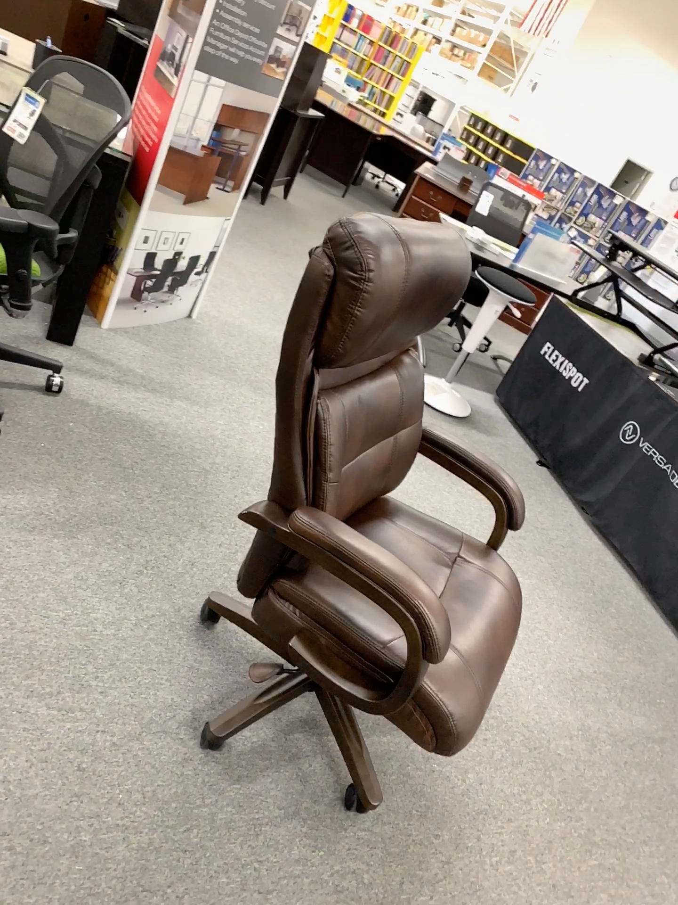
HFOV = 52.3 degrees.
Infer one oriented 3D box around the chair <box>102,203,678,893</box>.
[{"bbox_3d":[0.152,0.149,1.526,0.700,1.094,0.754,36,28,12],"label":"chair"}]
